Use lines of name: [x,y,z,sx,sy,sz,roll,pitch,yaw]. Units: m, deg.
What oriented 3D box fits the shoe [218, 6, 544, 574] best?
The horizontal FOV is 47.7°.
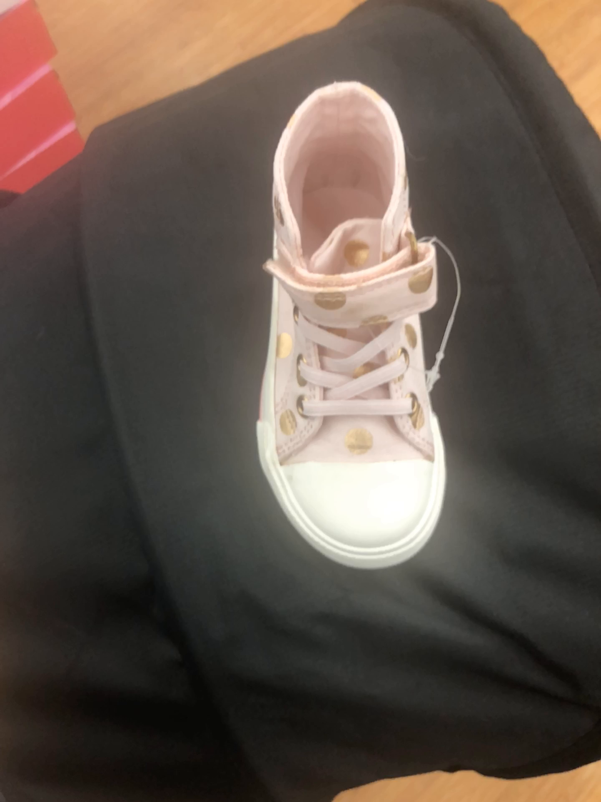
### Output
shoe: [0.018,-0.032,0.245,0.080,0.100,0.170,-3,70,2]
